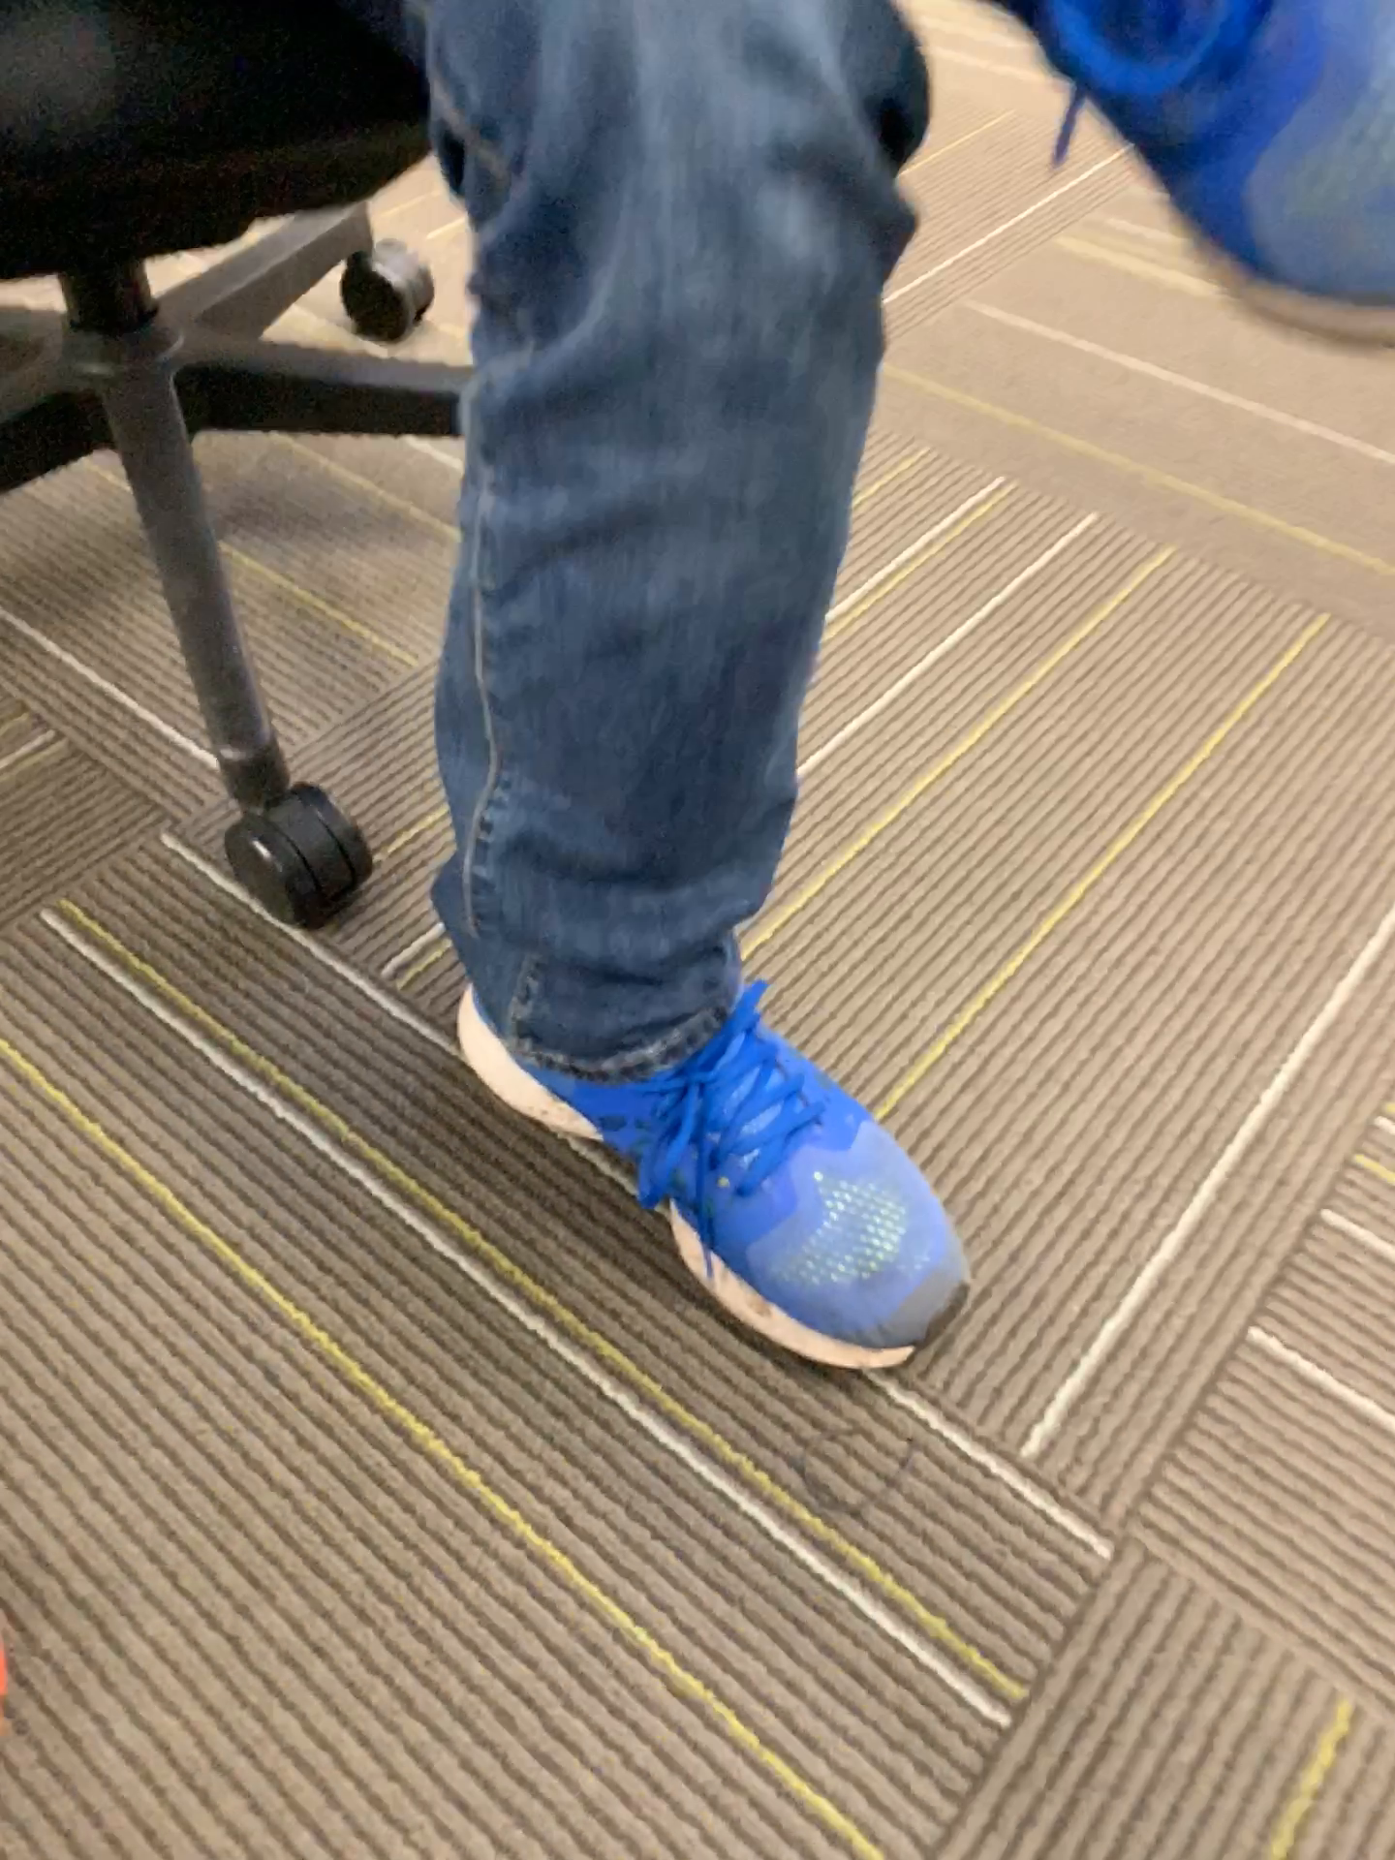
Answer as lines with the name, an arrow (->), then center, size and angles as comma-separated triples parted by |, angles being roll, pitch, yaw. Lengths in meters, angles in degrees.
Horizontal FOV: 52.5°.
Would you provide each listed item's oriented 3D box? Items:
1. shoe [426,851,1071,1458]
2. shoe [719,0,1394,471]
shoe -> 0.013, 0.090, 0.643 | 0.284, 0.086, 0.101 | 35, 57, 26
shoe -> 0.127, -0.231, 0.310 | 0.103, 0.117, 0.276 | 0, 43, -34
